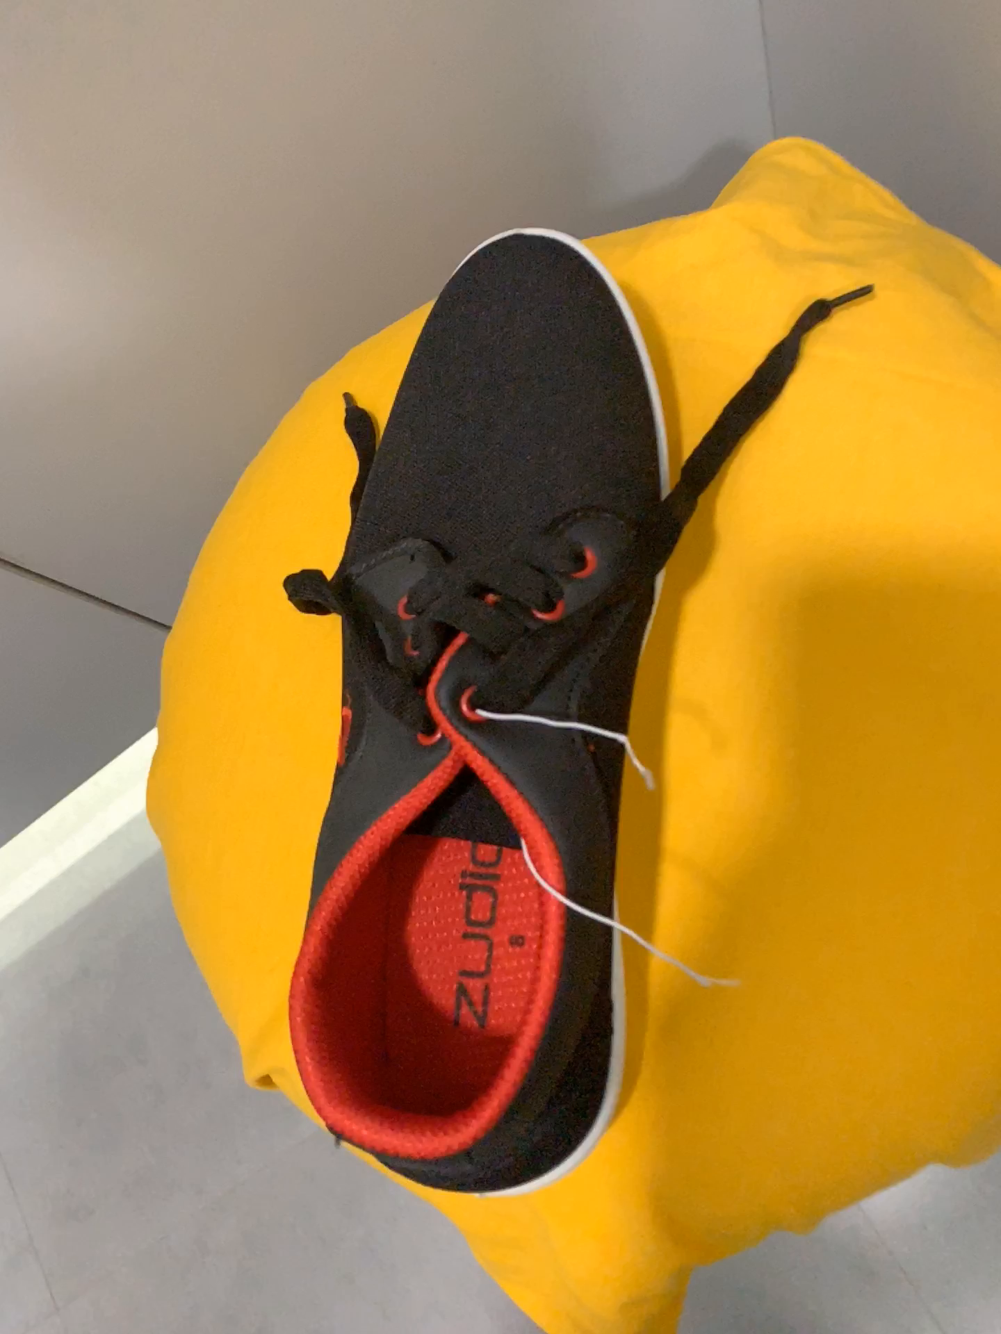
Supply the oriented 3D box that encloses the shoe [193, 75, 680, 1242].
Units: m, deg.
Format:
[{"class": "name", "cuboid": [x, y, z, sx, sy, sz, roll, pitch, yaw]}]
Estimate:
[{"class": "shoe", "cuboid": [-0.004, -0.006, 0.293, 0.090, 0.100, 0.270, -1, 78, 19]}]
